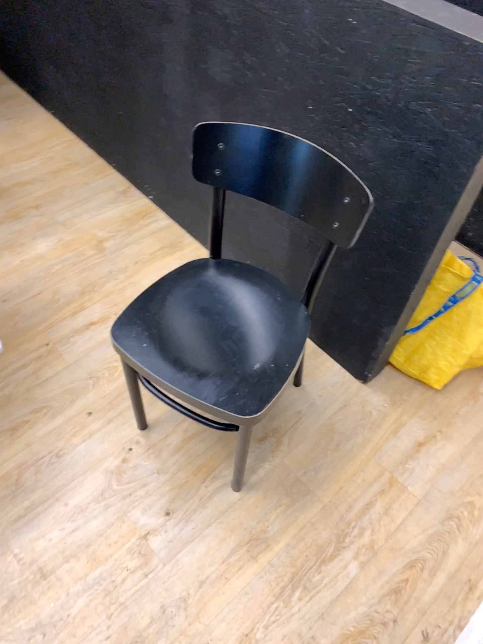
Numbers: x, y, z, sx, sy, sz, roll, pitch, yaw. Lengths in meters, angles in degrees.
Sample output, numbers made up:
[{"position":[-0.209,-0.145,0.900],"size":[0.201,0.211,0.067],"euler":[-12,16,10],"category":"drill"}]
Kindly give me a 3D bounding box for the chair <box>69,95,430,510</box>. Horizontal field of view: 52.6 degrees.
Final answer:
[{"position":[0.012,-0.006,1.084],"size":[0.440,0.698,0.441],"euler":[27,54,16],"category":"chair"}]
